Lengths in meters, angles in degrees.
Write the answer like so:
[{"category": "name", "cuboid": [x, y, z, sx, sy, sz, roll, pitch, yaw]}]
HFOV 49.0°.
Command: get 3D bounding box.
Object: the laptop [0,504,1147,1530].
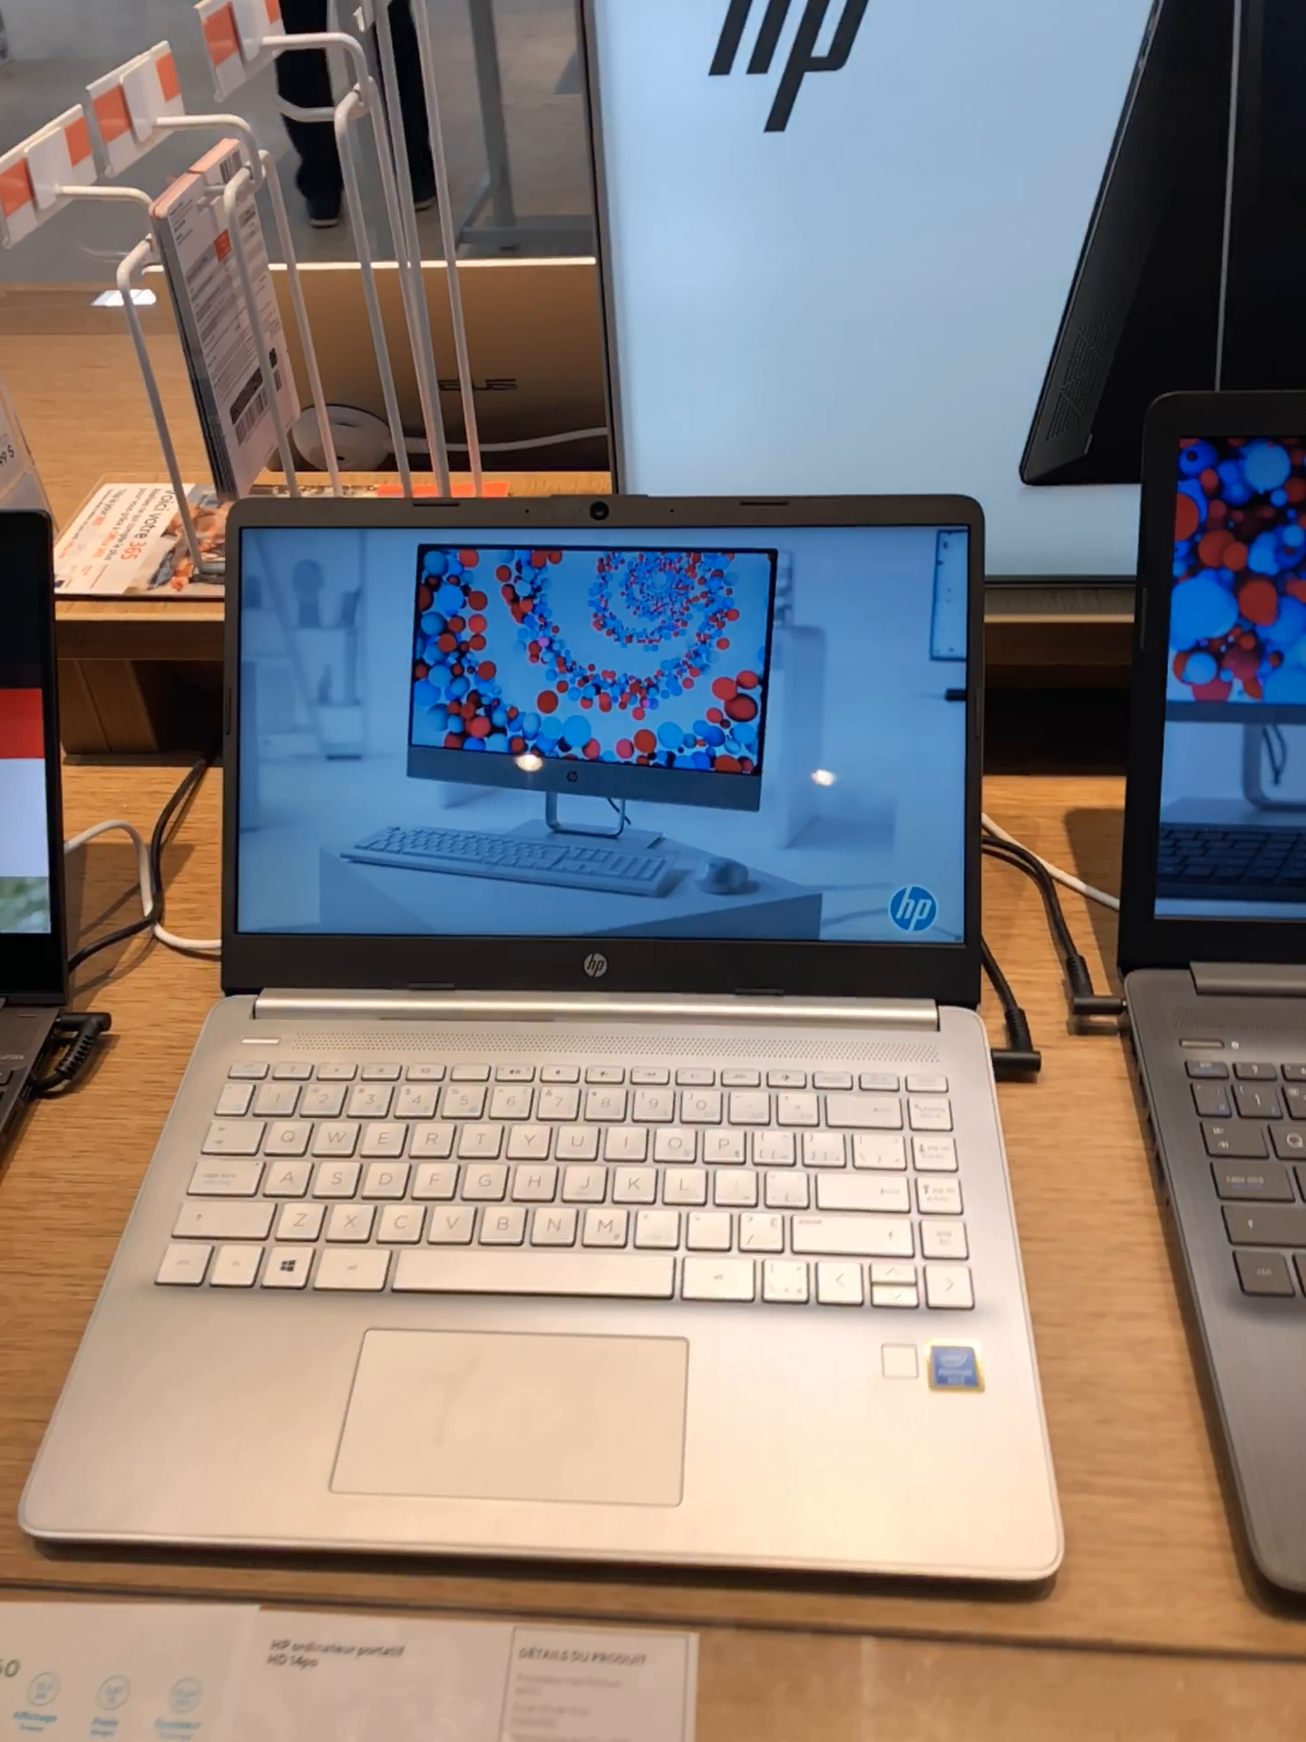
[{"category": "laptop", "cuboid": [-0.023, 0.026, 0.530, 0.308, 0.167, 0.347, 0, 40, 7]}]
